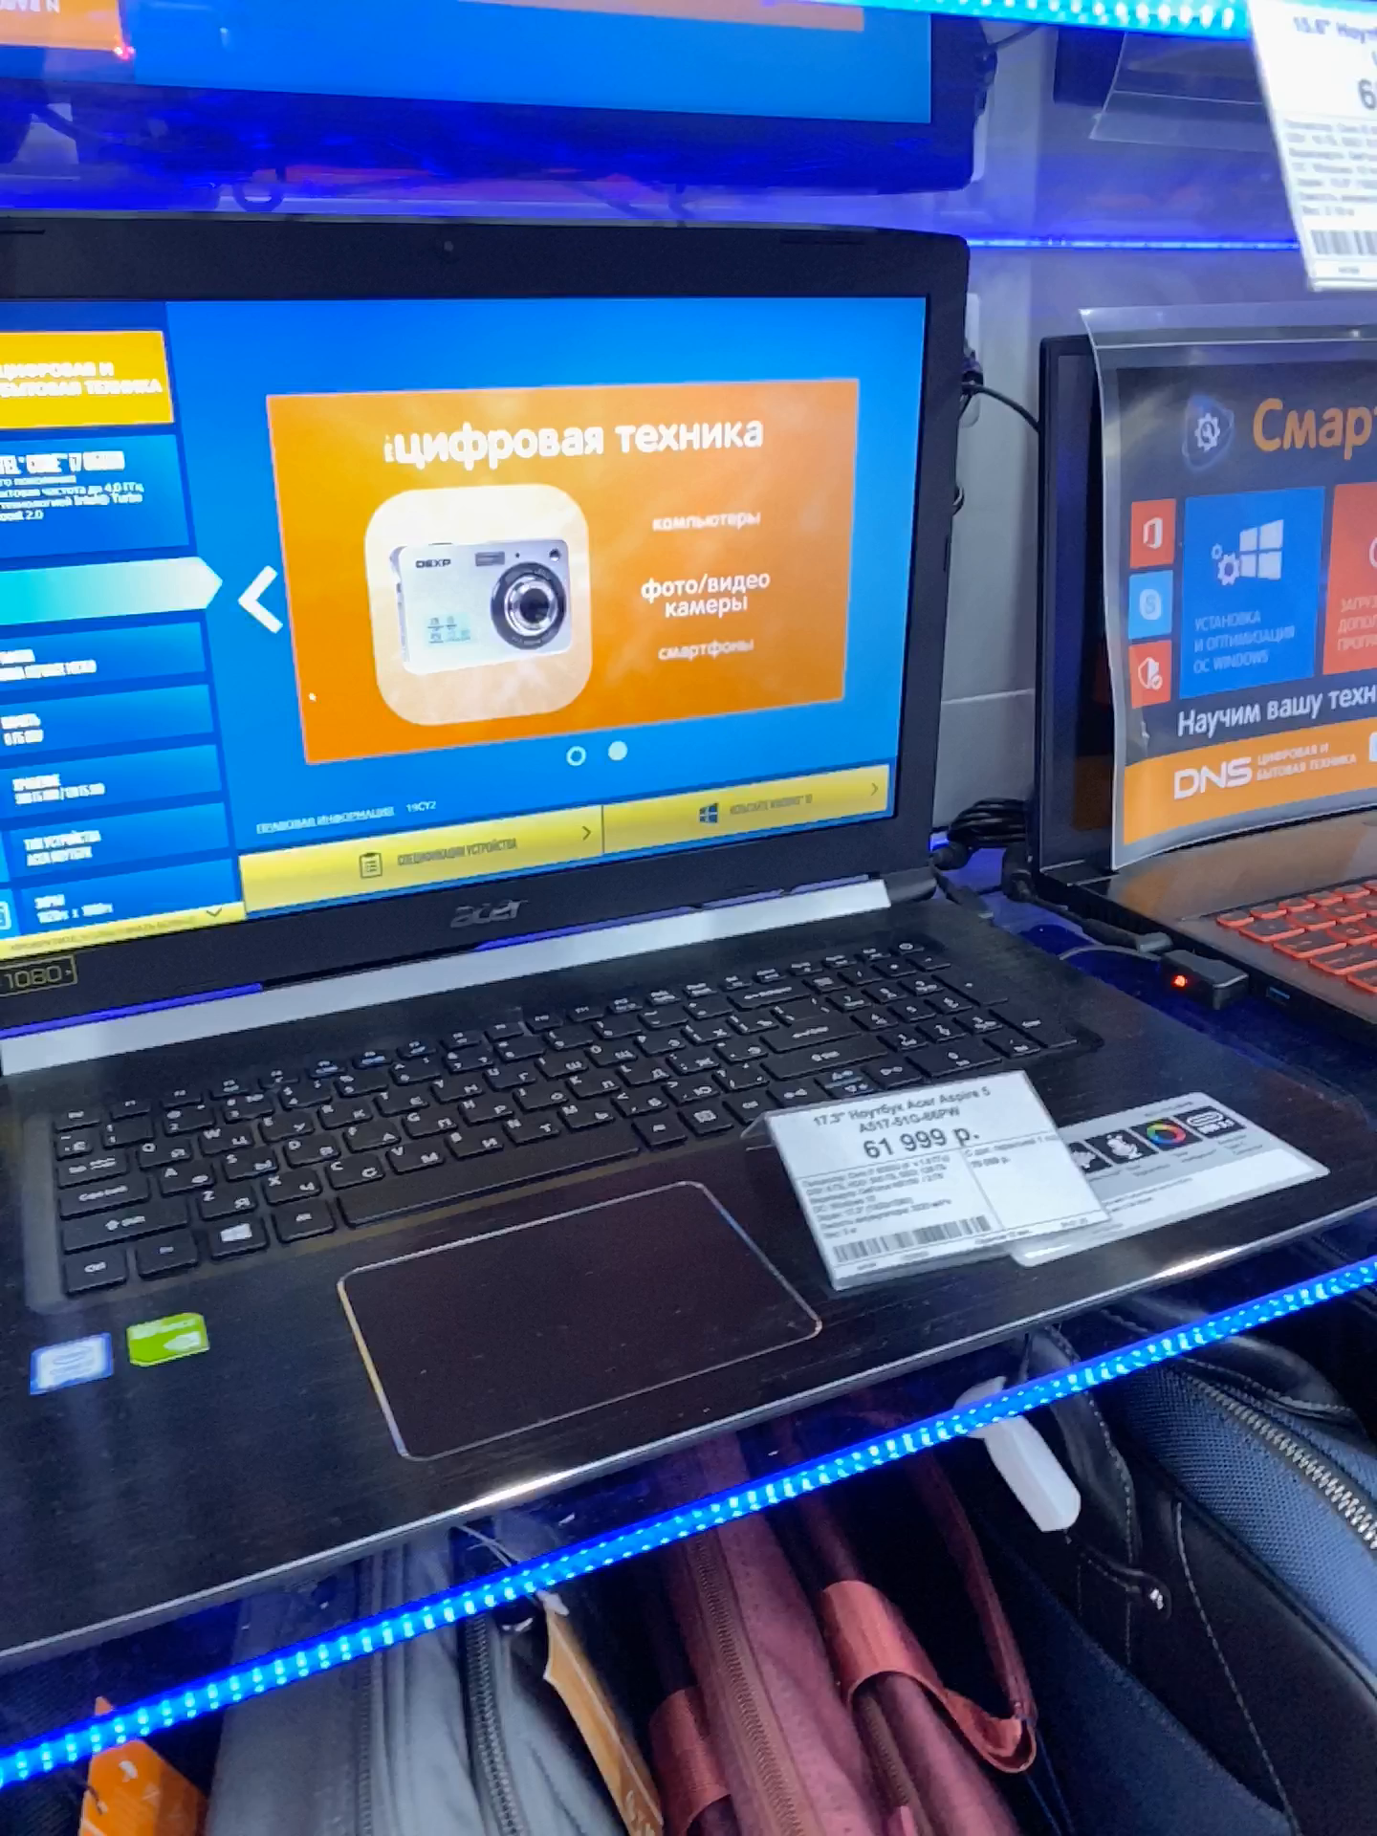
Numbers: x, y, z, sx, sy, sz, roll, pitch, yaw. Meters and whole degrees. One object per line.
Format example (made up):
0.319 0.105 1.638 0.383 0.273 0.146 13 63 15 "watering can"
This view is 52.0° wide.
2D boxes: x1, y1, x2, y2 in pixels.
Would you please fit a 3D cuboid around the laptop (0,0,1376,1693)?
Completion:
-0.023 -0.063 0.412 0.421 0.277 0.273 -10 22 -22 "laptop"
